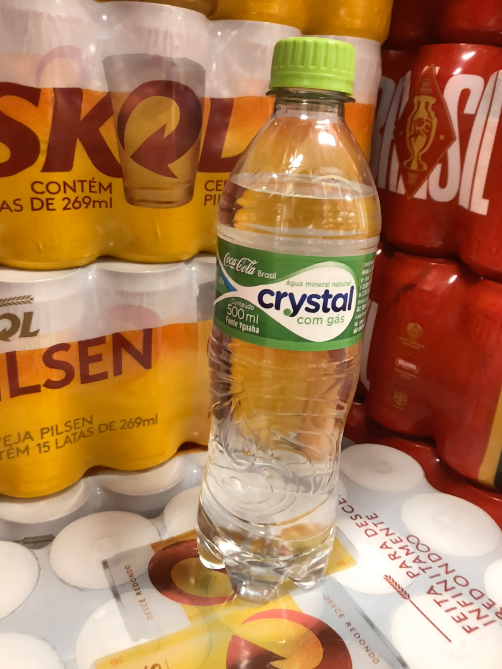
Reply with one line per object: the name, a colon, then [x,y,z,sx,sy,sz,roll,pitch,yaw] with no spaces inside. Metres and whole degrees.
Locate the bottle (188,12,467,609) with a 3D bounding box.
bottle: [0.015,0.002,0.225,0.070,0.219,0.060,0,23,-10]
